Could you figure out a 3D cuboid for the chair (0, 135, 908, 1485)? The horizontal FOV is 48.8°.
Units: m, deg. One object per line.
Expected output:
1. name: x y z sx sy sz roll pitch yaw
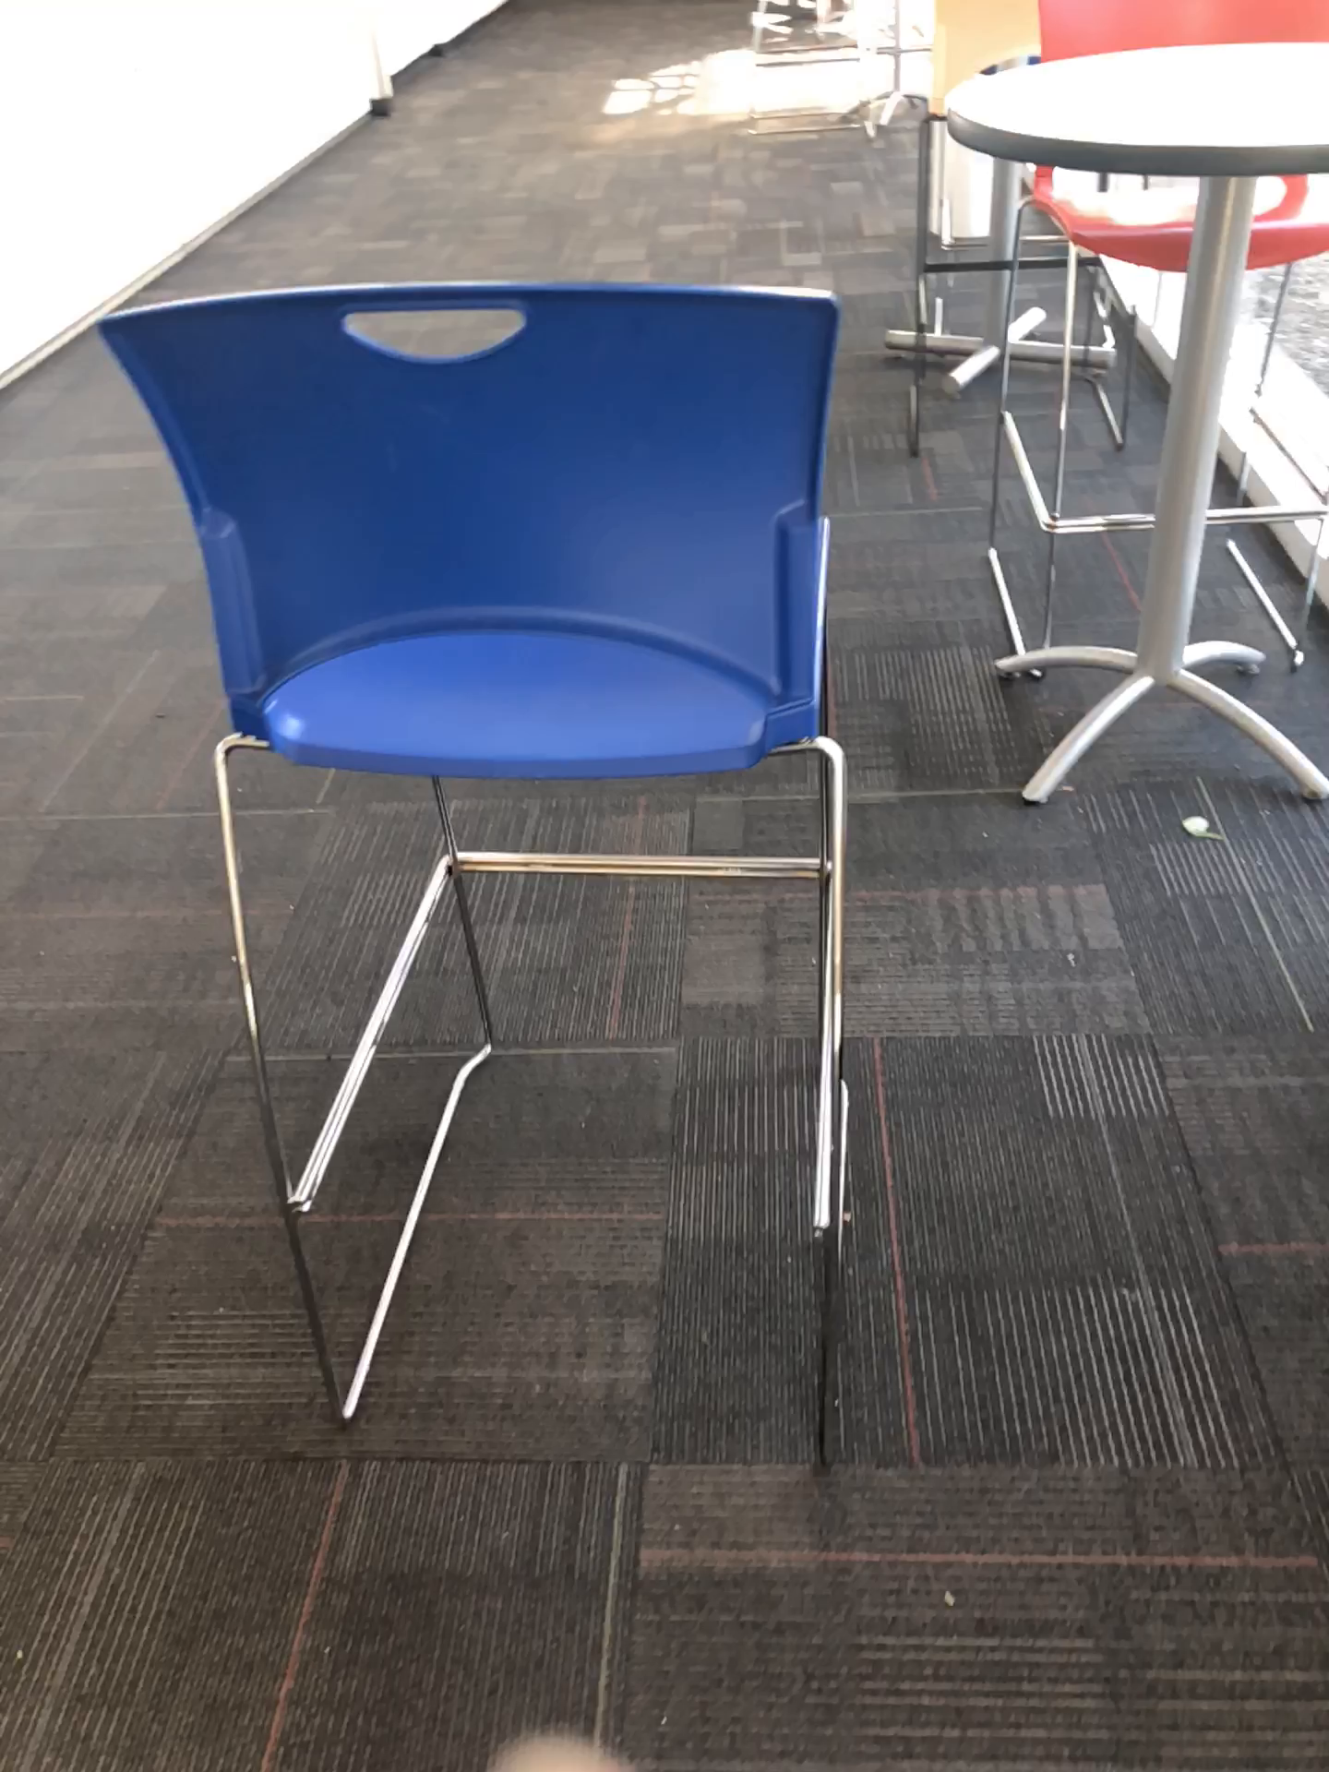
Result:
1. chair: -0.082 -0.062 1.294 0.550 0.965 0.613 2 35 10
